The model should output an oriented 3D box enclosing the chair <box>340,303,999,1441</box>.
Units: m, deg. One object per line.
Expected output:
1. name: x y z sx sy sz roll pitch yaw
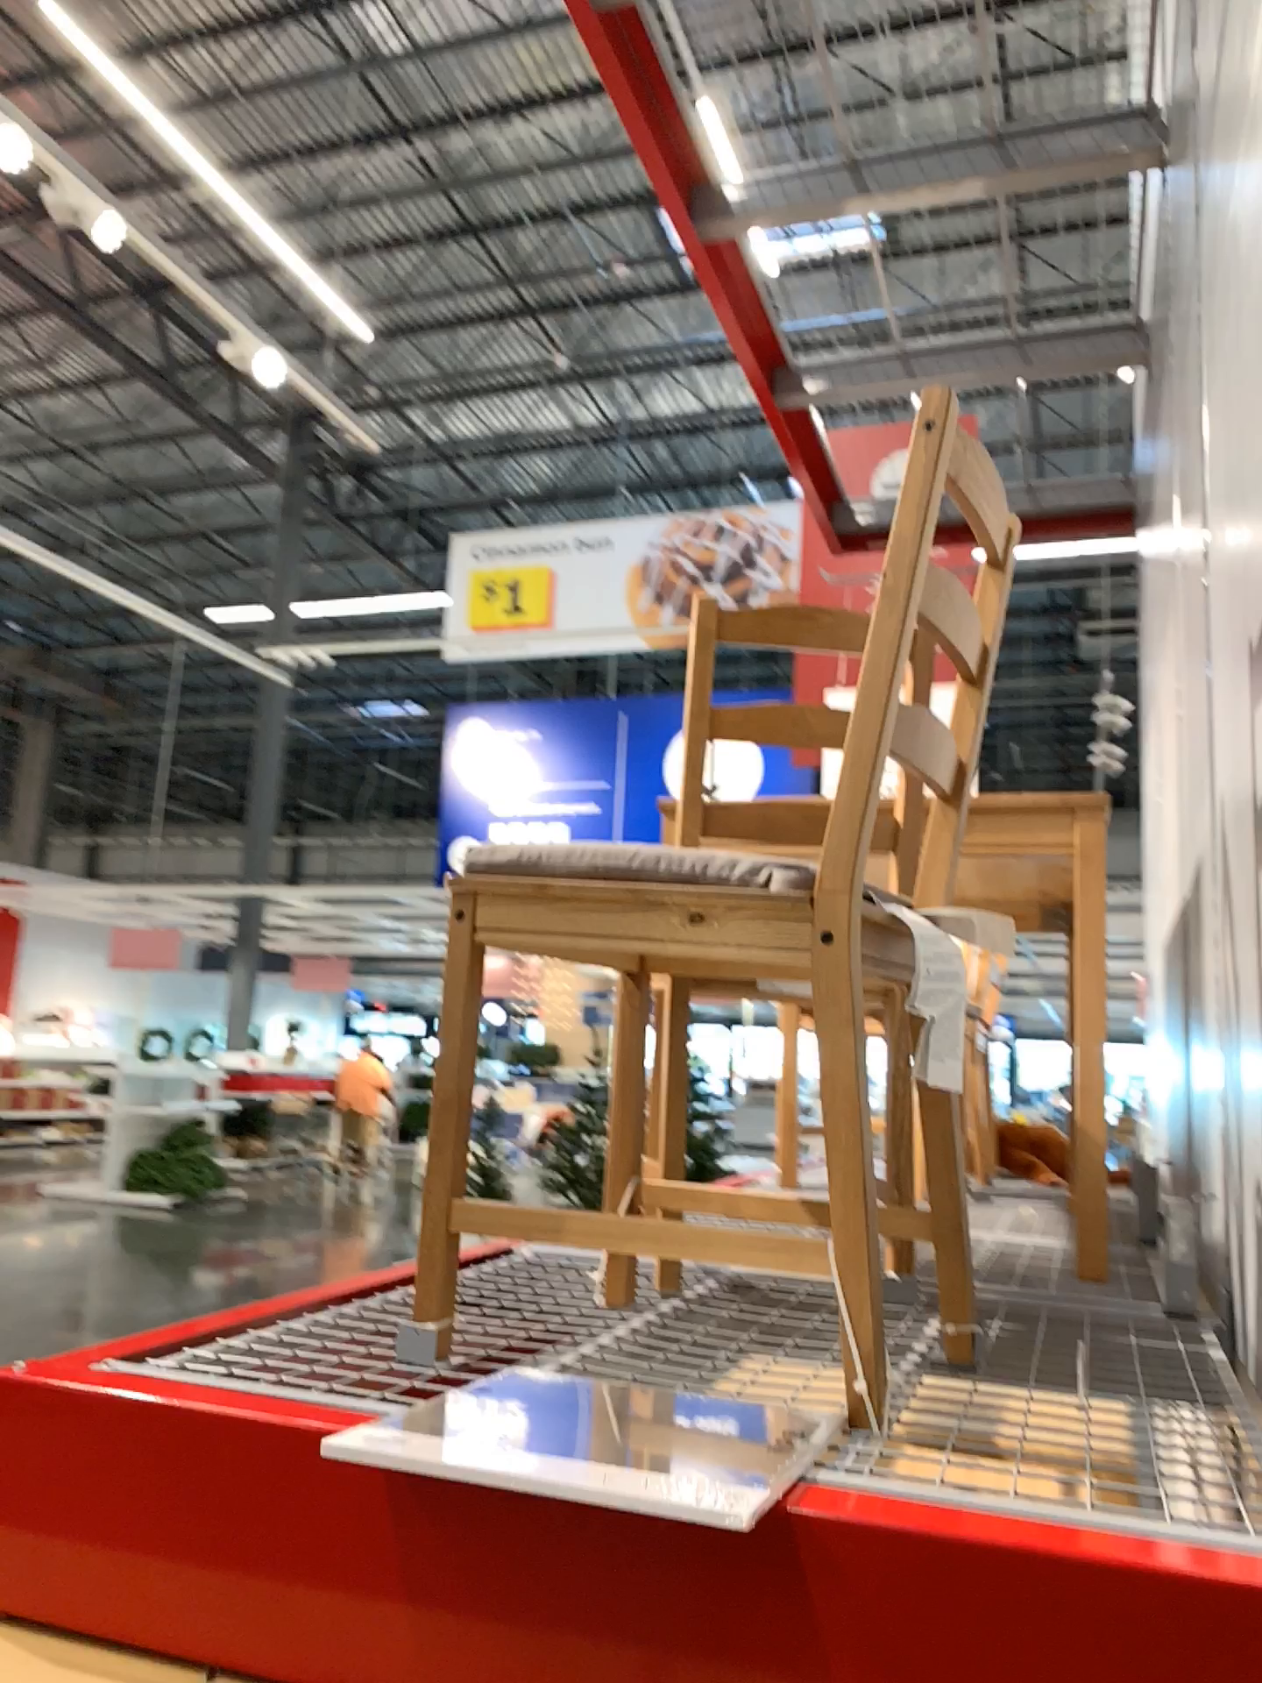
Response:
1. chair: 0.085 0.030 1.321 0.500 0.912 0.439 -1 -11 24
